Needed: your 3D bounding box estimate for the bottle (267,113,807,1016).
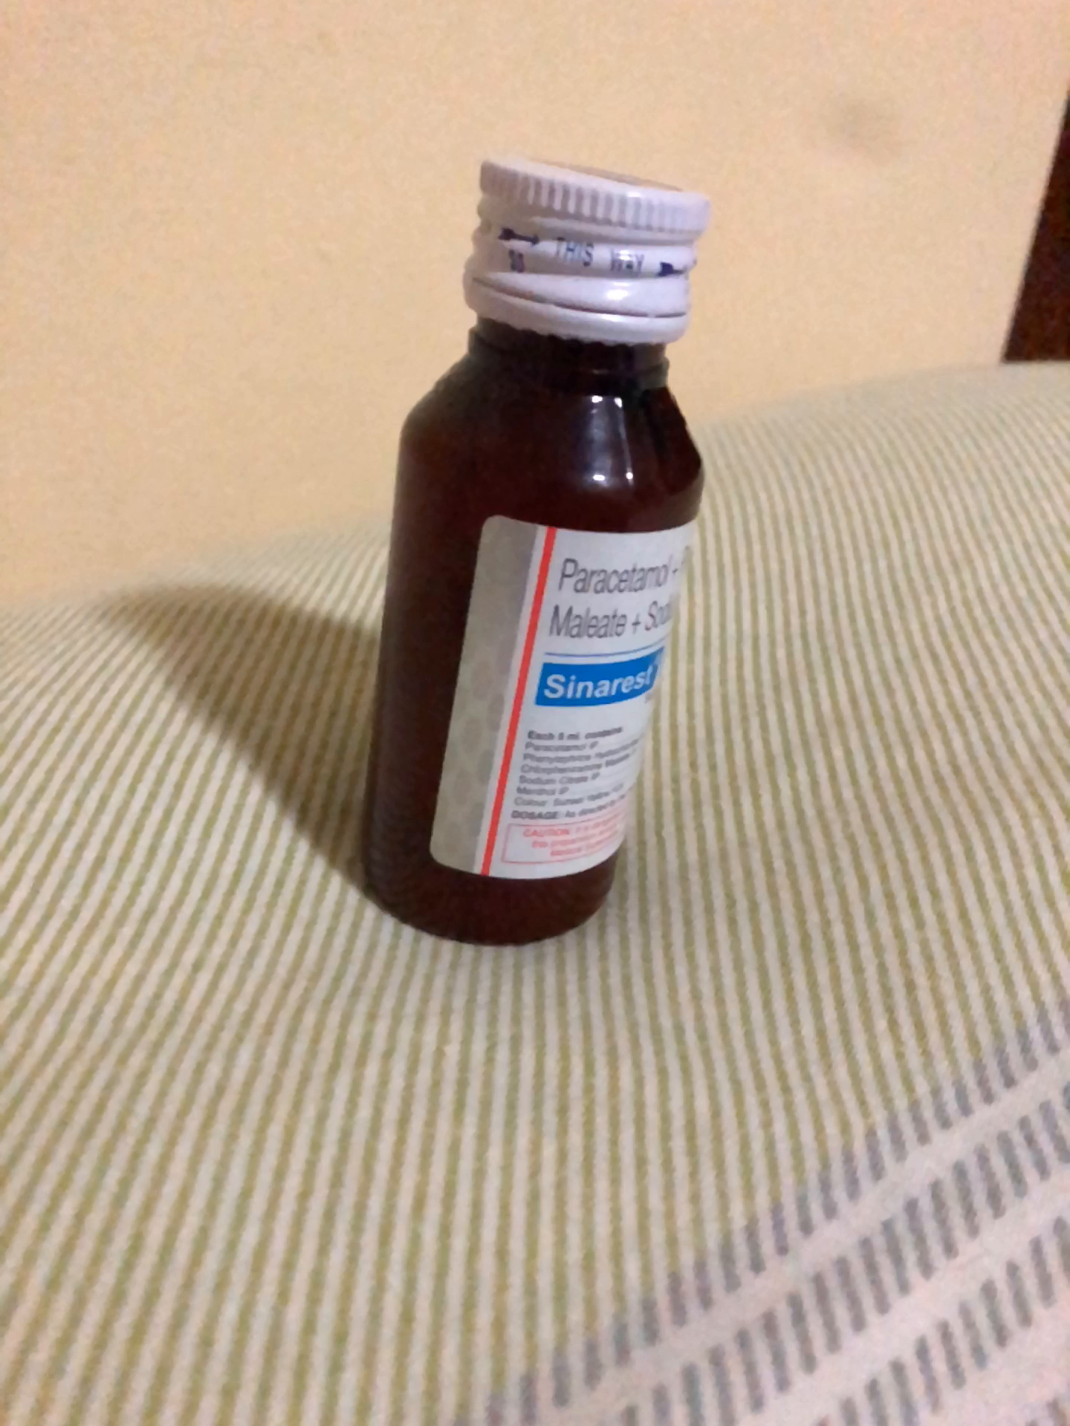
[{"bbox_3d":[-0.004,-0.018,0.157,0.040,0.100,0.040,7,27,-4],"label":"bottle"}]
